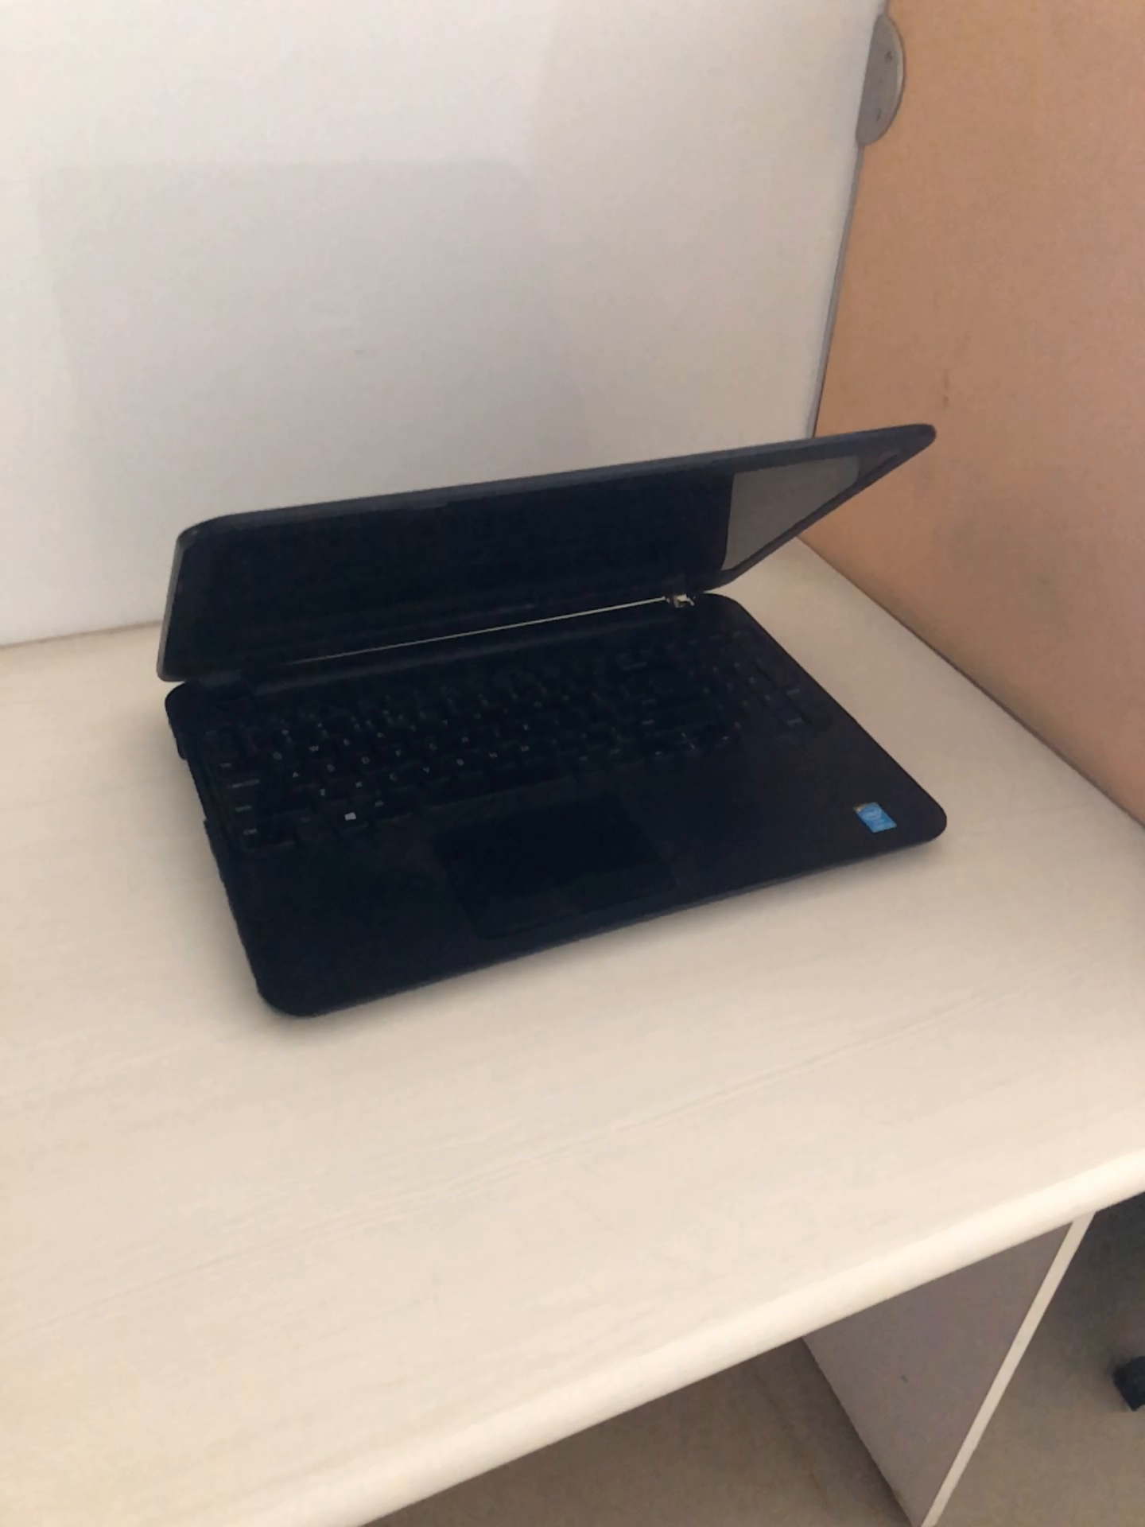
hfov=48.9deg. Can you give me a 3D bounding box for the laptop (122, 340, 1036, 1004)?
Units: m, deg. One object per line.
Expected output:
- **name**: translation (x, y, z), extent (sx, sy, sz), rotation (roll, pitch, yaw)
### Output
- **laptop**: translation (-0.008, -0.075, 0.649), extent (0.365, 0.177, 0.248), rotation (-12, 41, -23)
